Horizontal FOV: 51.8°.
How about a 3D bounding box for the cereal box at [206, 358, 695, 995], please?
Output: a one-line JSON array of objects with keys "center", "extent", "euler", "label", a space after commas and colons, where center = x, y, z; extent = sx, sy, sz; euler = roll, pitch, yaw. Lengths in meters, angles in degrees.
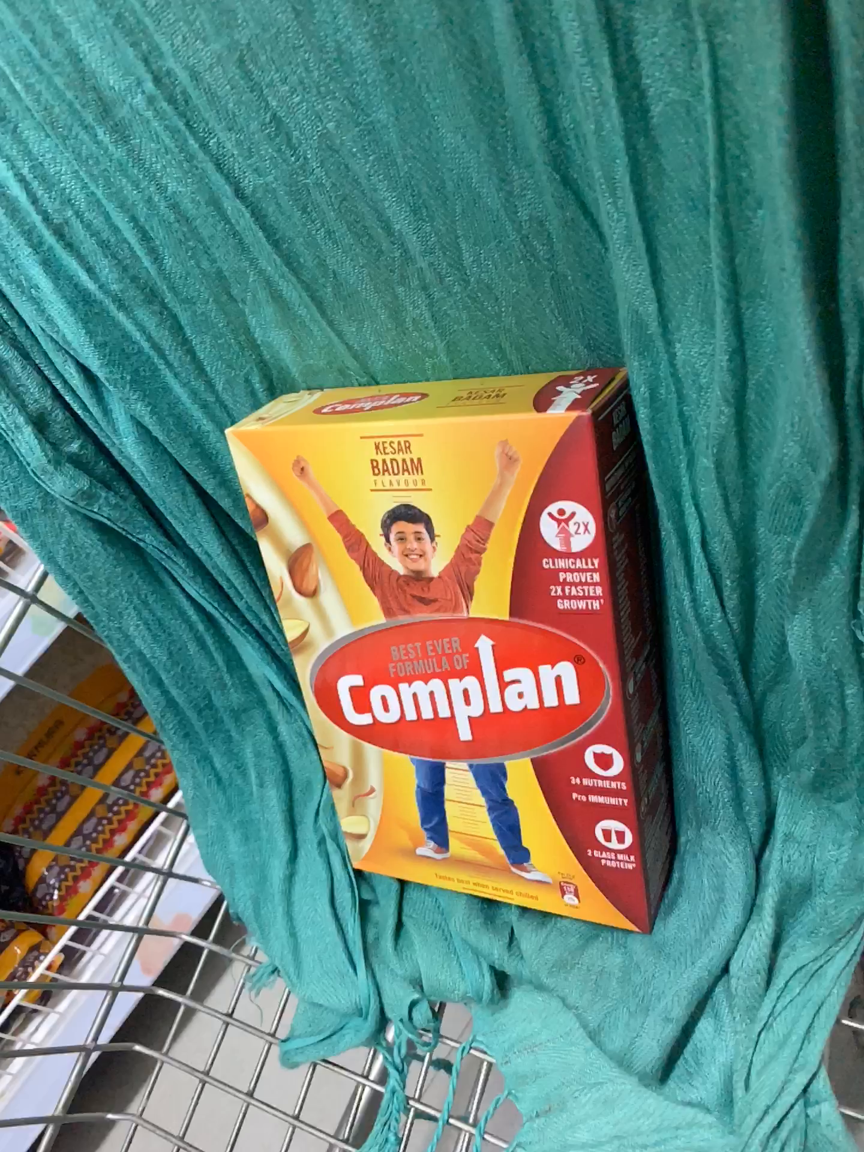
[{"center": [0.012, 0.033, 0.324], "extent": [0.140, 0.200, 0.060], "euler": [2, 21, 30], "label": "cereal box"}]
